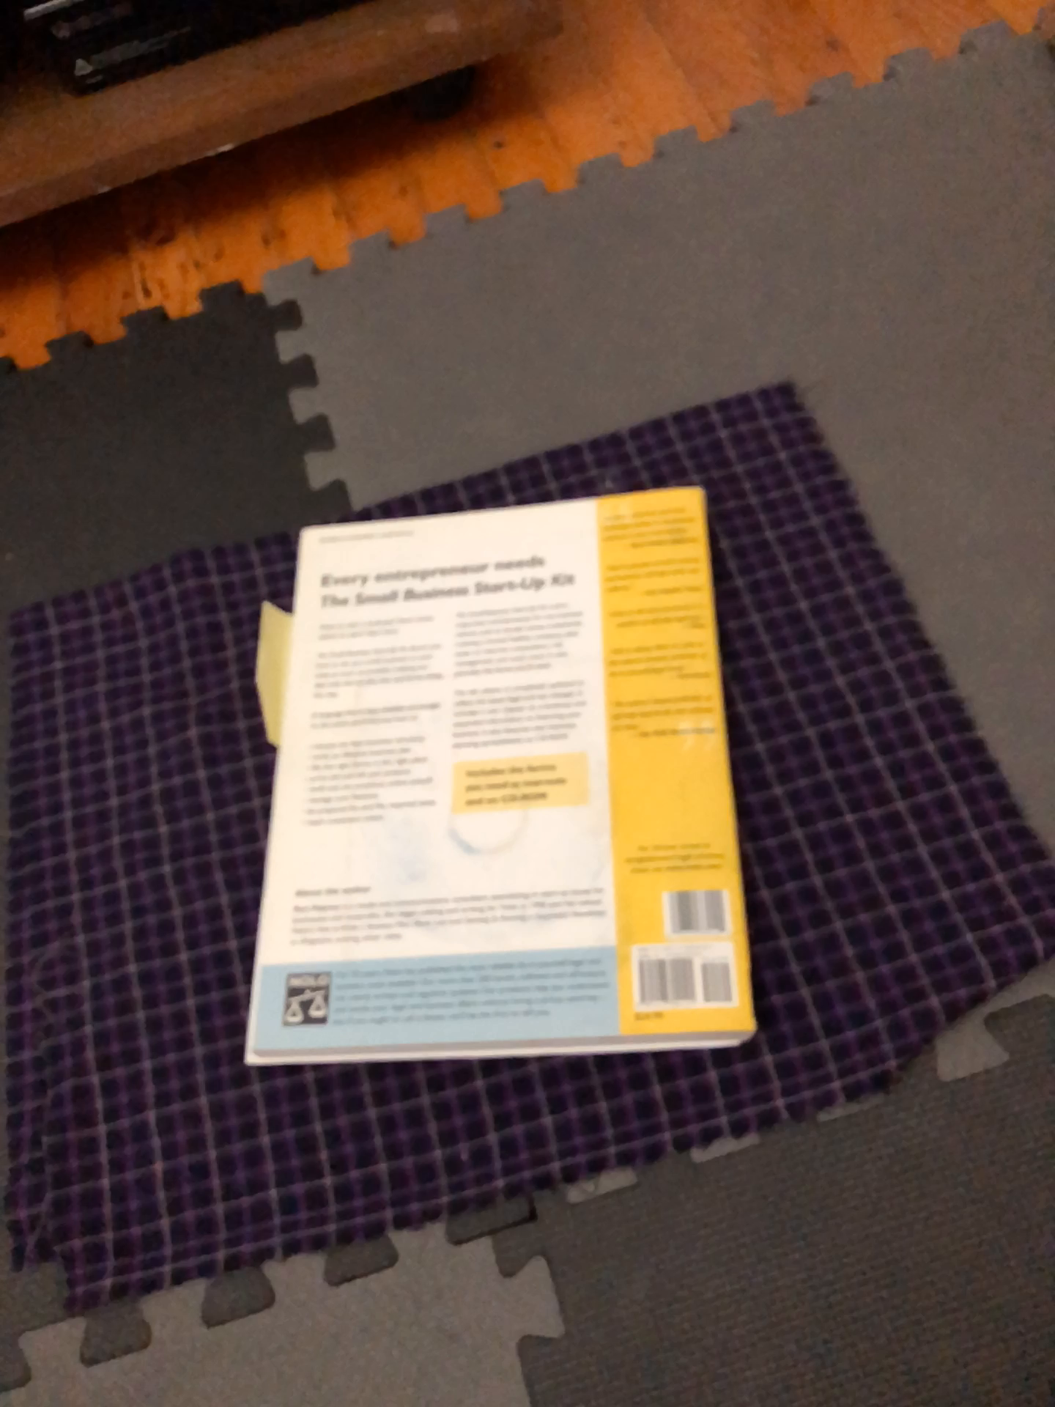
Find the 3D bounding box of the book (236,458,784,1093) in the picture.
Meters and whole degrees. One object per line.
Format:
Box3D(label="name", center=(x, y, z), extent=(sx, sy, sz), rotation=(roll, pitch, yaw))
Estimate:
Box3D(label="book", center=(-0.009, 0.023, 0.575), extent=(0.230, 0.030, 0.311), rotation=(-4, 61, 8))
